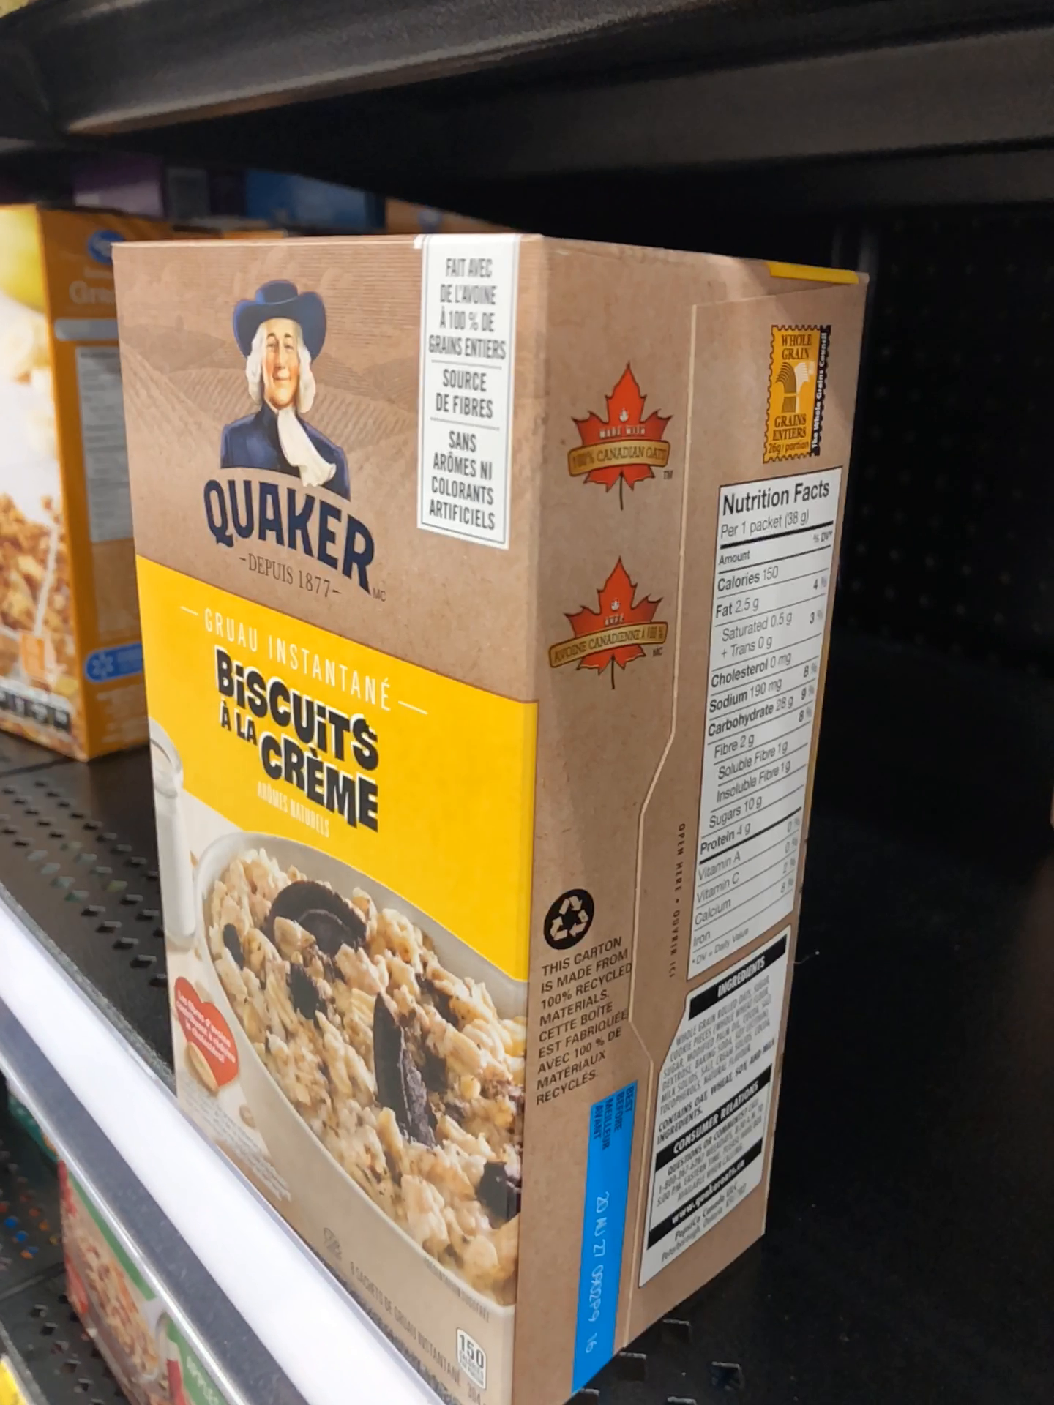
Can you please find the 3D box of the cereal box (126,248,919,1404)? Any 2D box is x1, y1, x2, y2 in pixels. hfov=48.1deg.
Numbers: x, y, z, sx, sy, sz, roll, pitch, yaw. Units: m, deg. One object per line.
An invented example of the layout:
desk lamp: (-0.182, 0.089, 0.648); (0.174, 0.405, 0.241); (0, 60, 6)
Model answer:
cereal box: (-0.010, 0.013, 0.236); (0.080, 0.189, 0.120); (-13, 23, -39)
